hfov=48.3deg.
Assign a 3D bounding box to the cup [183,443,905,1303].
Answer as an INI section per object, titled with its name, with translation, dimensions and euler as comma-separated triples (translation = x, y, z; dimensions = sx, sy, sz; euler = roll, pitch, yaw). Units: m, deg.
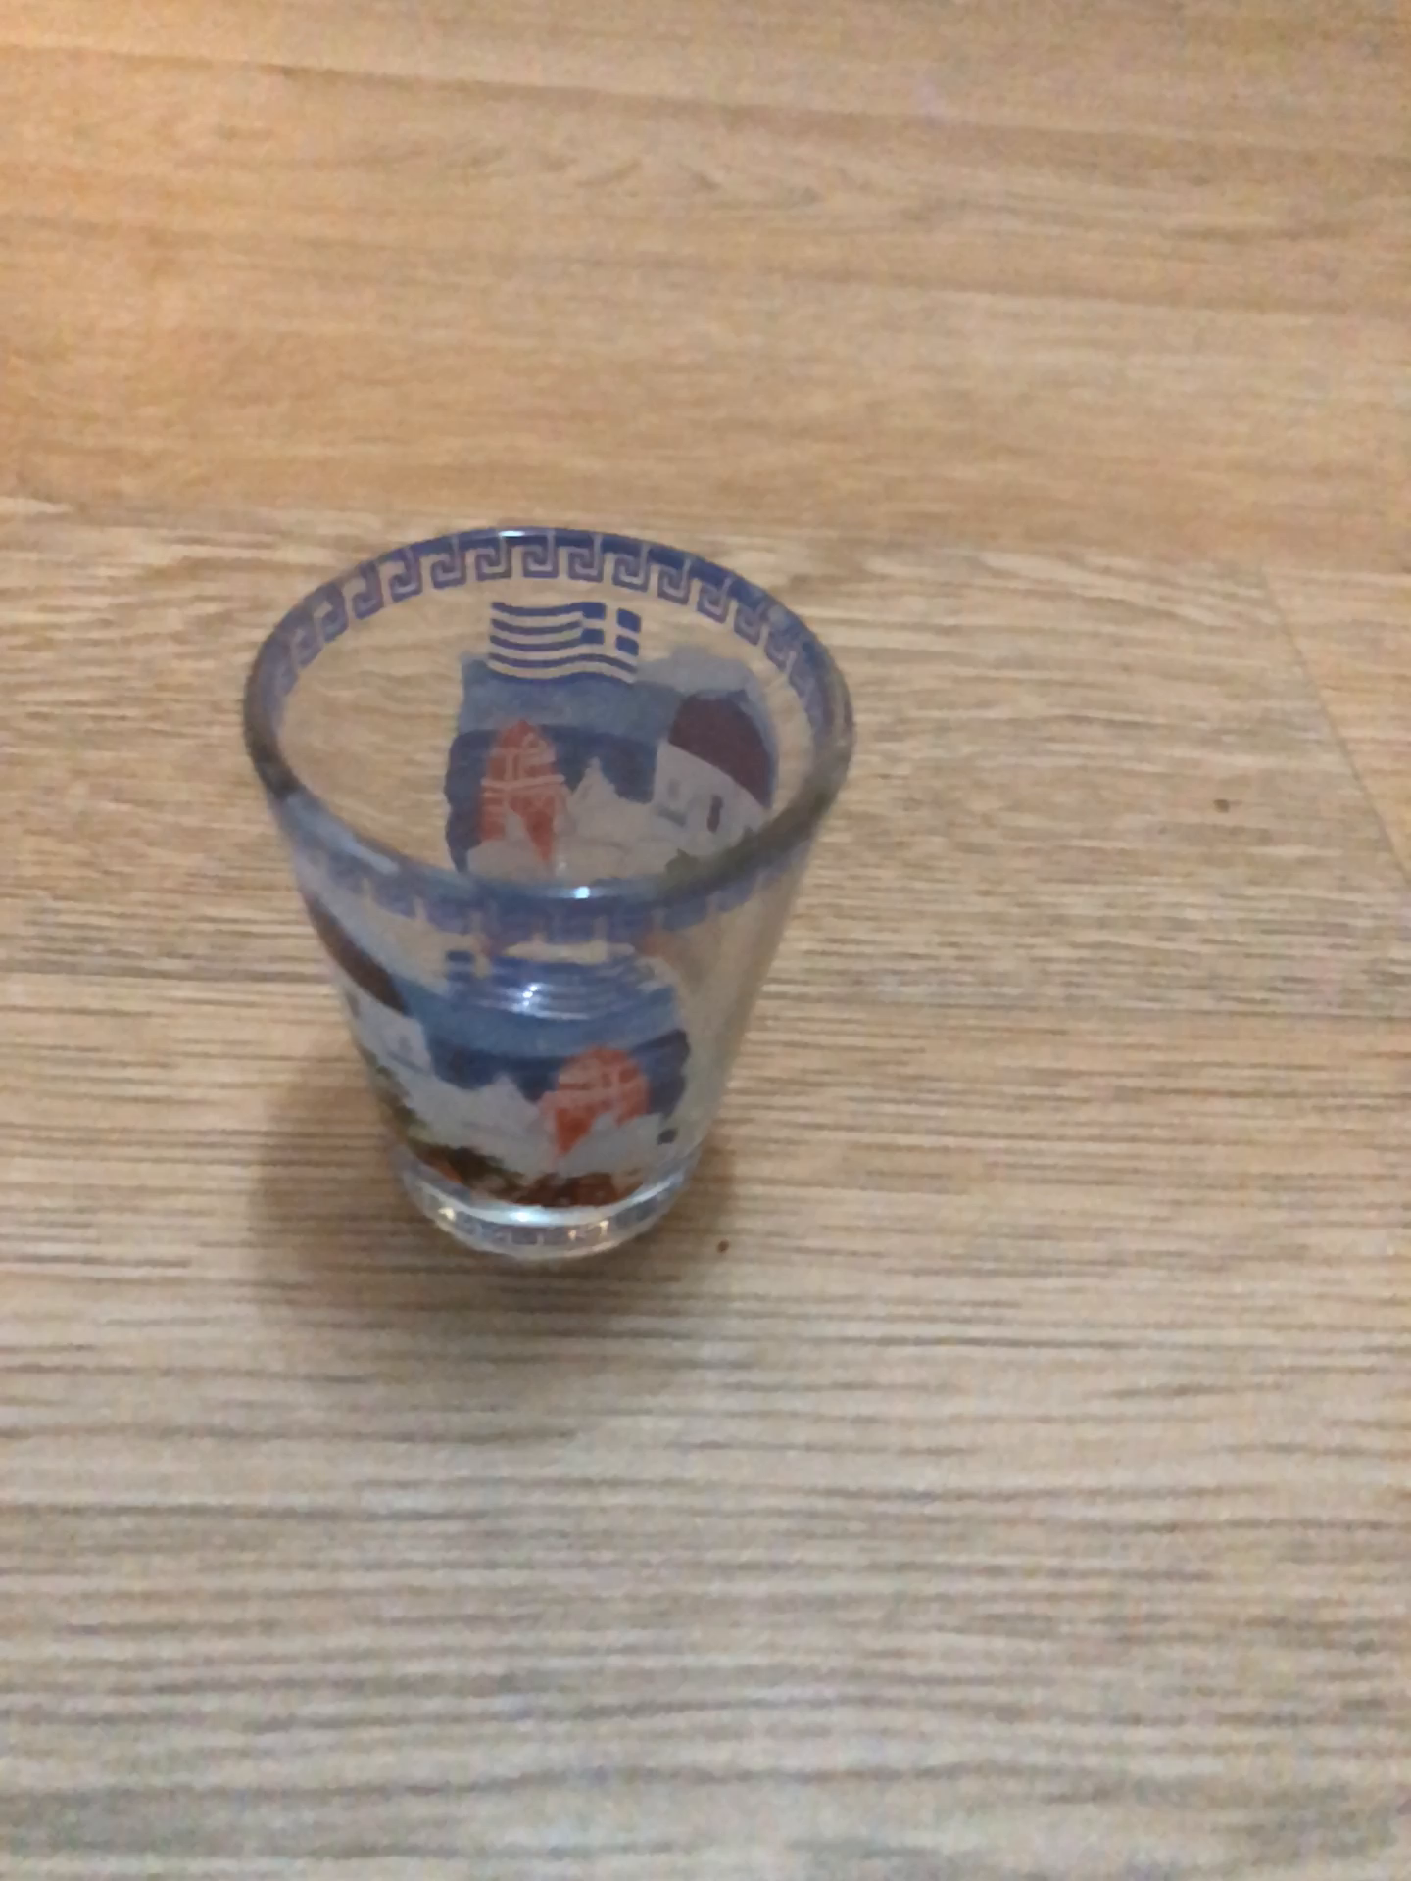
[cup]
translation = -0.013, -0.005, 0.148
dimensions = 0.050, 0.060, 0.050
euler = 3, 46, -3
